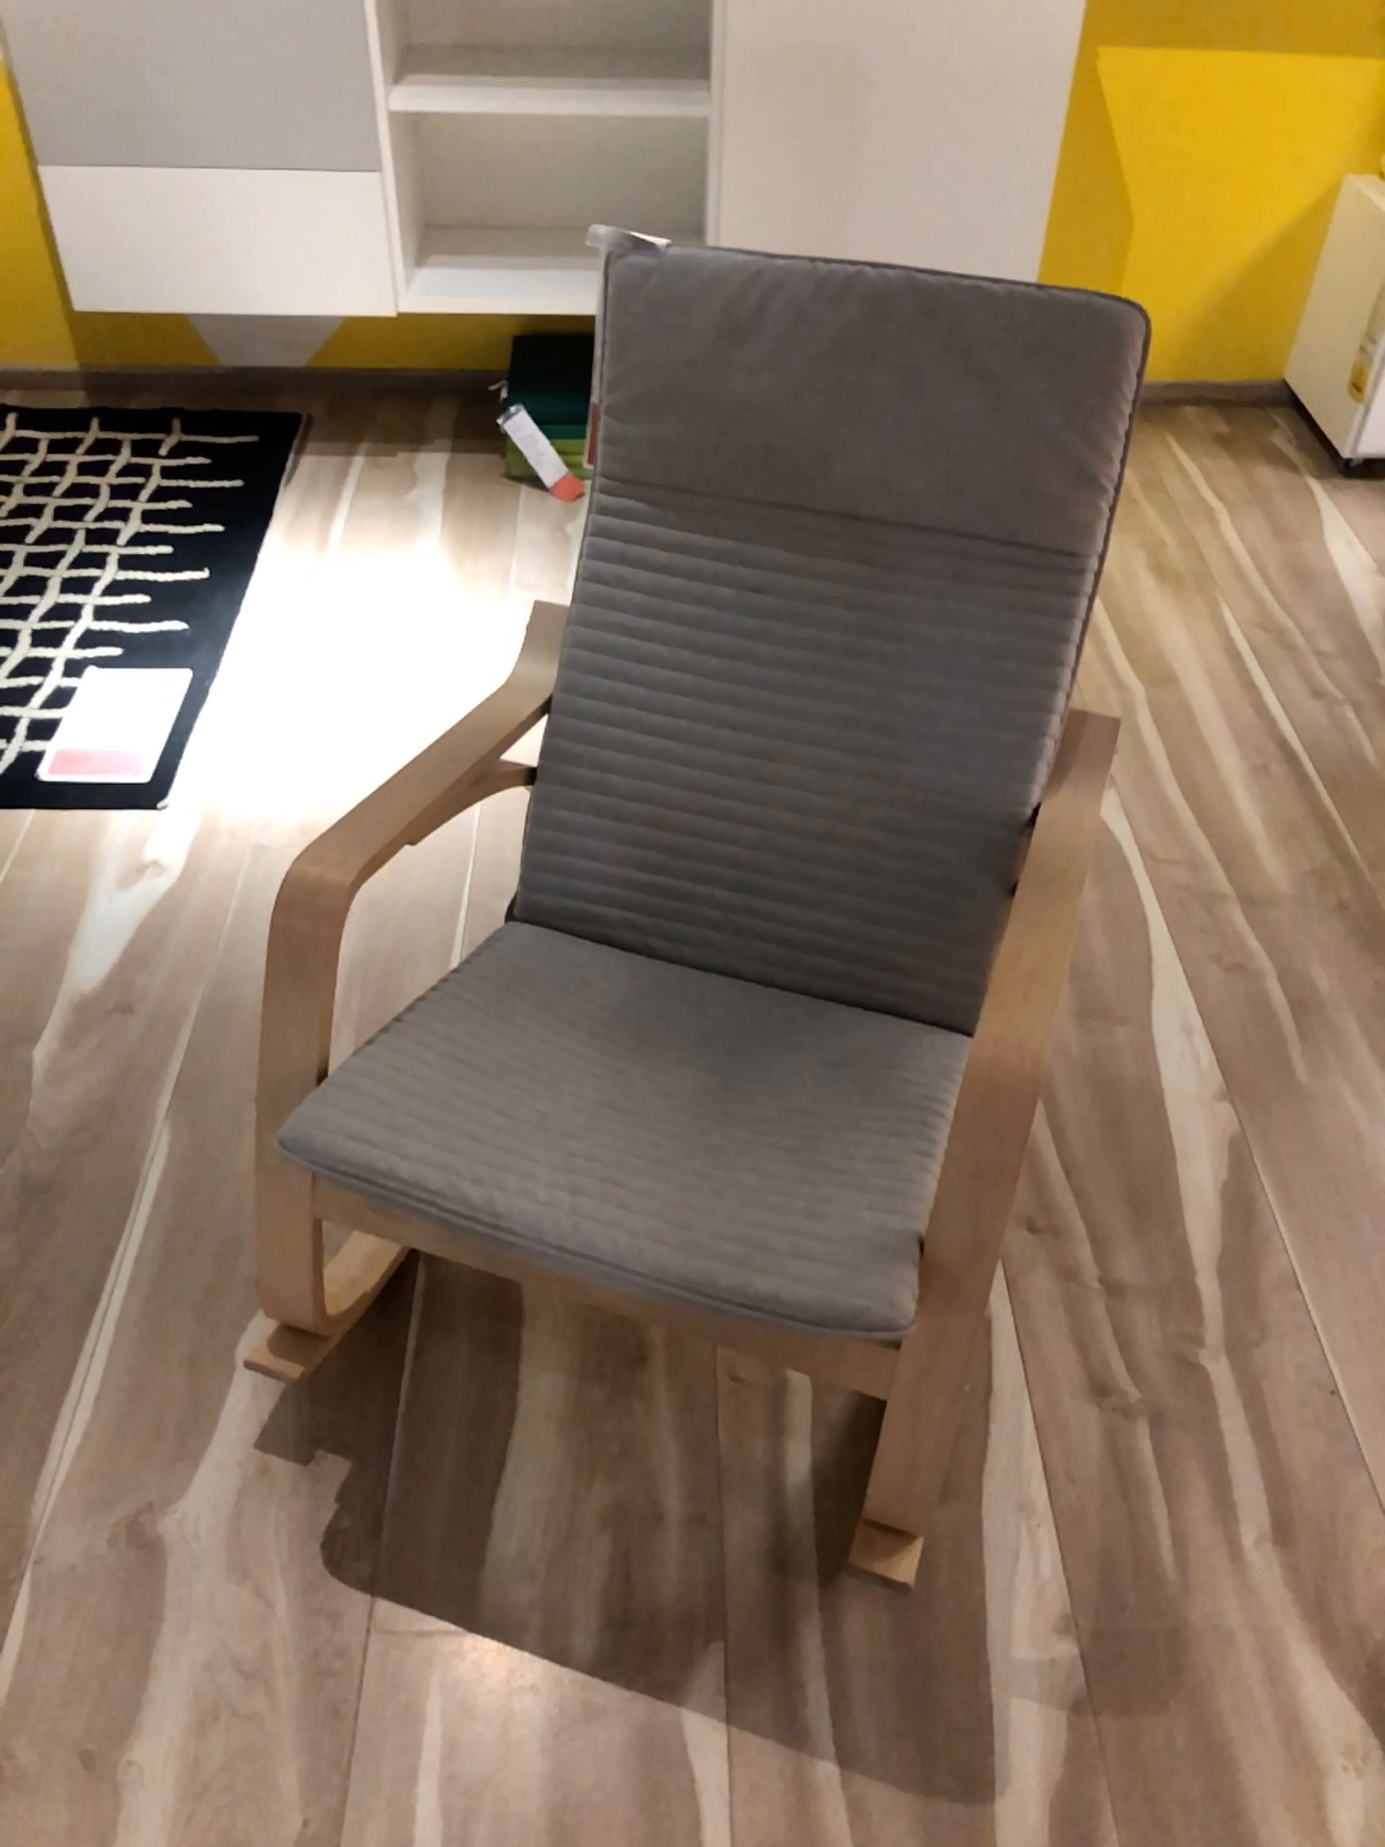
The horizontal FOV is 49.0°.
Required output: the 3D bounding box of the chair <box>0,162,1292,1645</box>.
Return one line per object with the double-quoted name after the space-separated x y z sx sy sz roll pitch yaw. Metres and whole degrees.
-0.004 -0.023 1.349 0.750 0.944 0.704 13 44 13 "chair"
